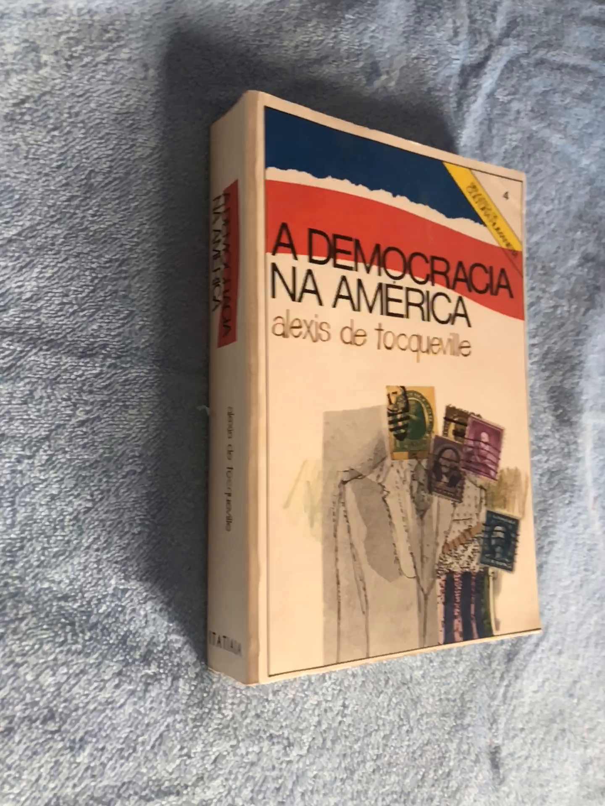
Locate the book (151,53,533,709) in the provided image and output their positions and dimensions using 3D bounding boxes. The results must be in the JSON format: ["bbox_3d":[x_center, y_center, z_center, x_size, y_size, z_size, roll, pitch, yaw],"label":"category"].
[{"bbox_3d":[0.022,-0.005,0.263,0.141,0.050,0.200,4,85,-31],"label":"book"}]
